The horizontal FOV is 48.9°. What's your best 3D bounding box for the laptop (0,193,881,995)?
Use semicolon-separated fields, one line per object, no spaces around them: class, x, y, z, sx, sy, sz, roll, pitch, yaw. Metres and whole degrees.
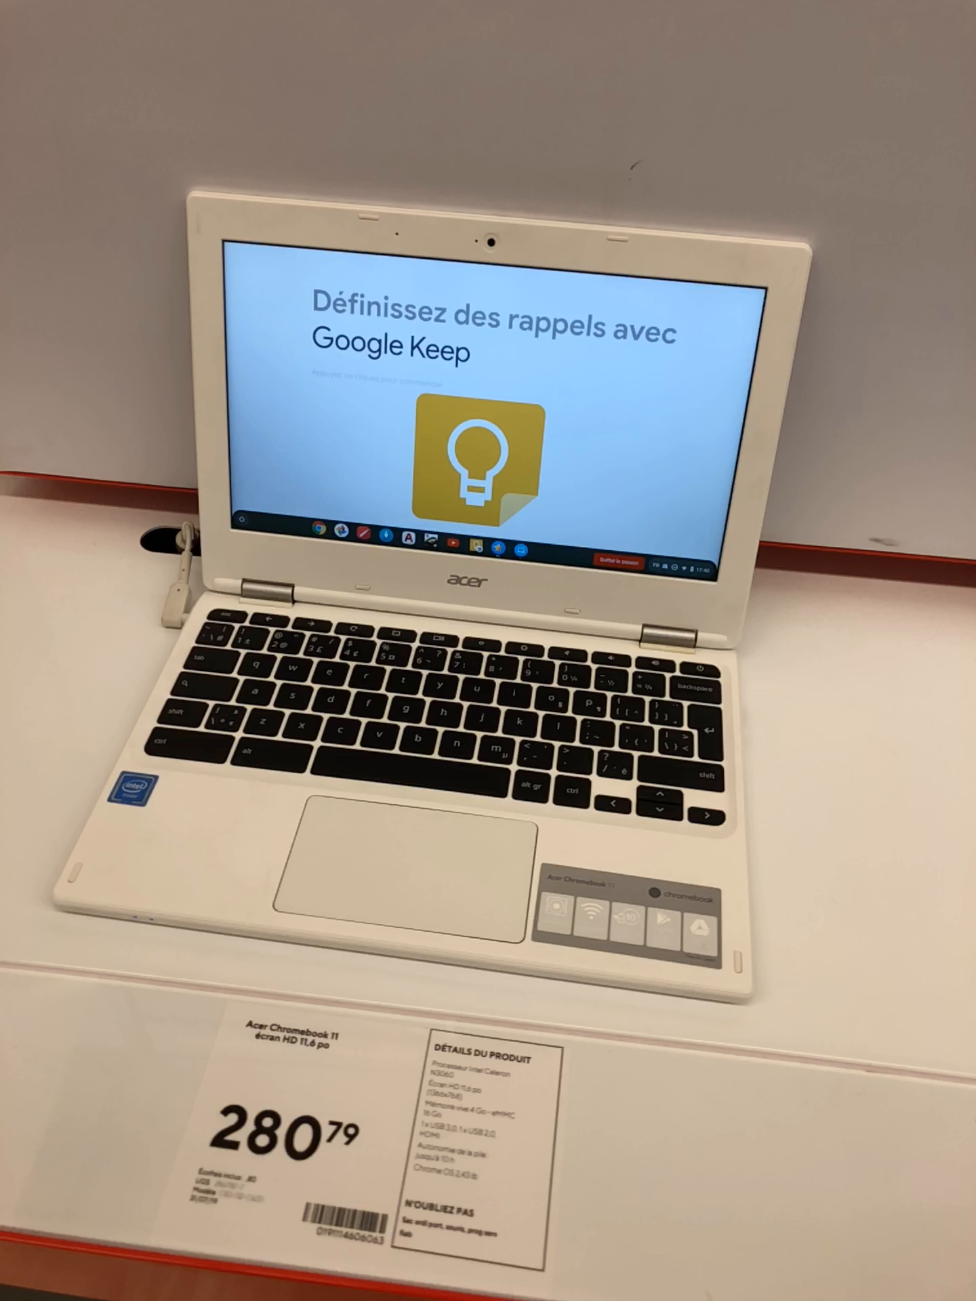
laptop;-0.020;-0.038;0.457;0.282;0.188;0.260;6;45;4
